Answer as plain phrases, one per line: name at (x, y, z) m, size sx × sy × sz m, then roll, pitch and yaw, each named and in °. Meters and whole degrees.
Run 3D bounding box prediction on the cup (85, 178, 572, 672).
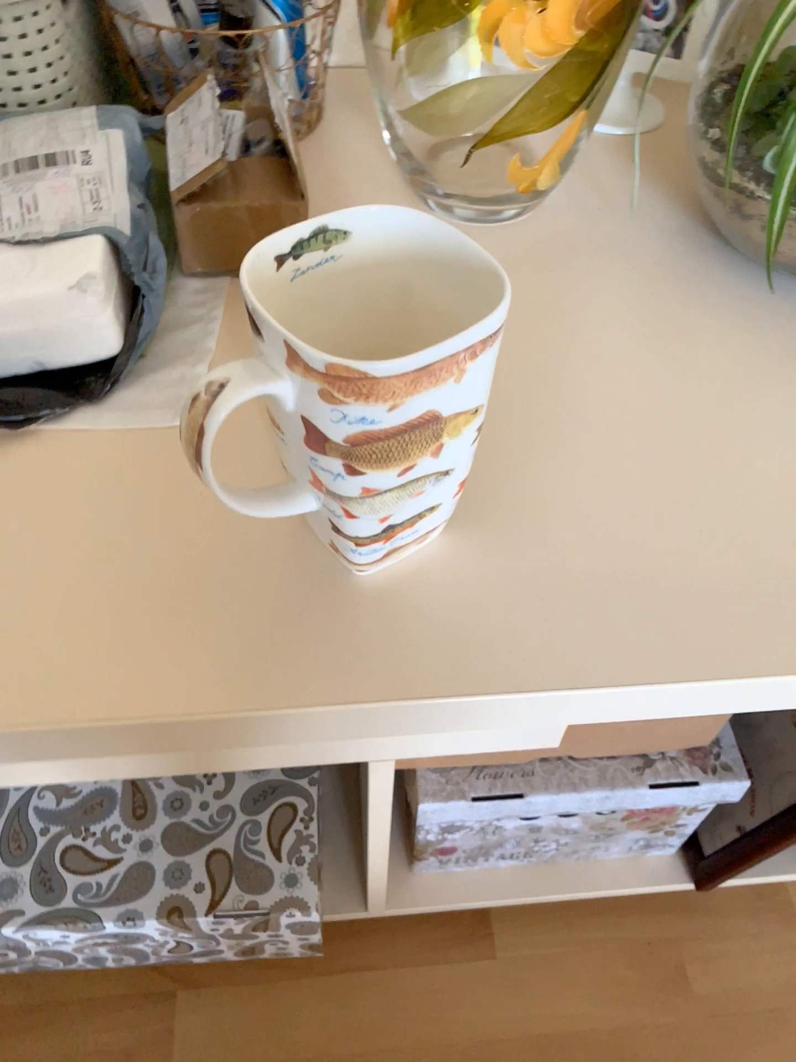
cup at (-0.024, -0.044, 0.327) m, size 0.139 × 0.122 × 0.092 m, roll -30°, pitch 58°, yaw -25°
